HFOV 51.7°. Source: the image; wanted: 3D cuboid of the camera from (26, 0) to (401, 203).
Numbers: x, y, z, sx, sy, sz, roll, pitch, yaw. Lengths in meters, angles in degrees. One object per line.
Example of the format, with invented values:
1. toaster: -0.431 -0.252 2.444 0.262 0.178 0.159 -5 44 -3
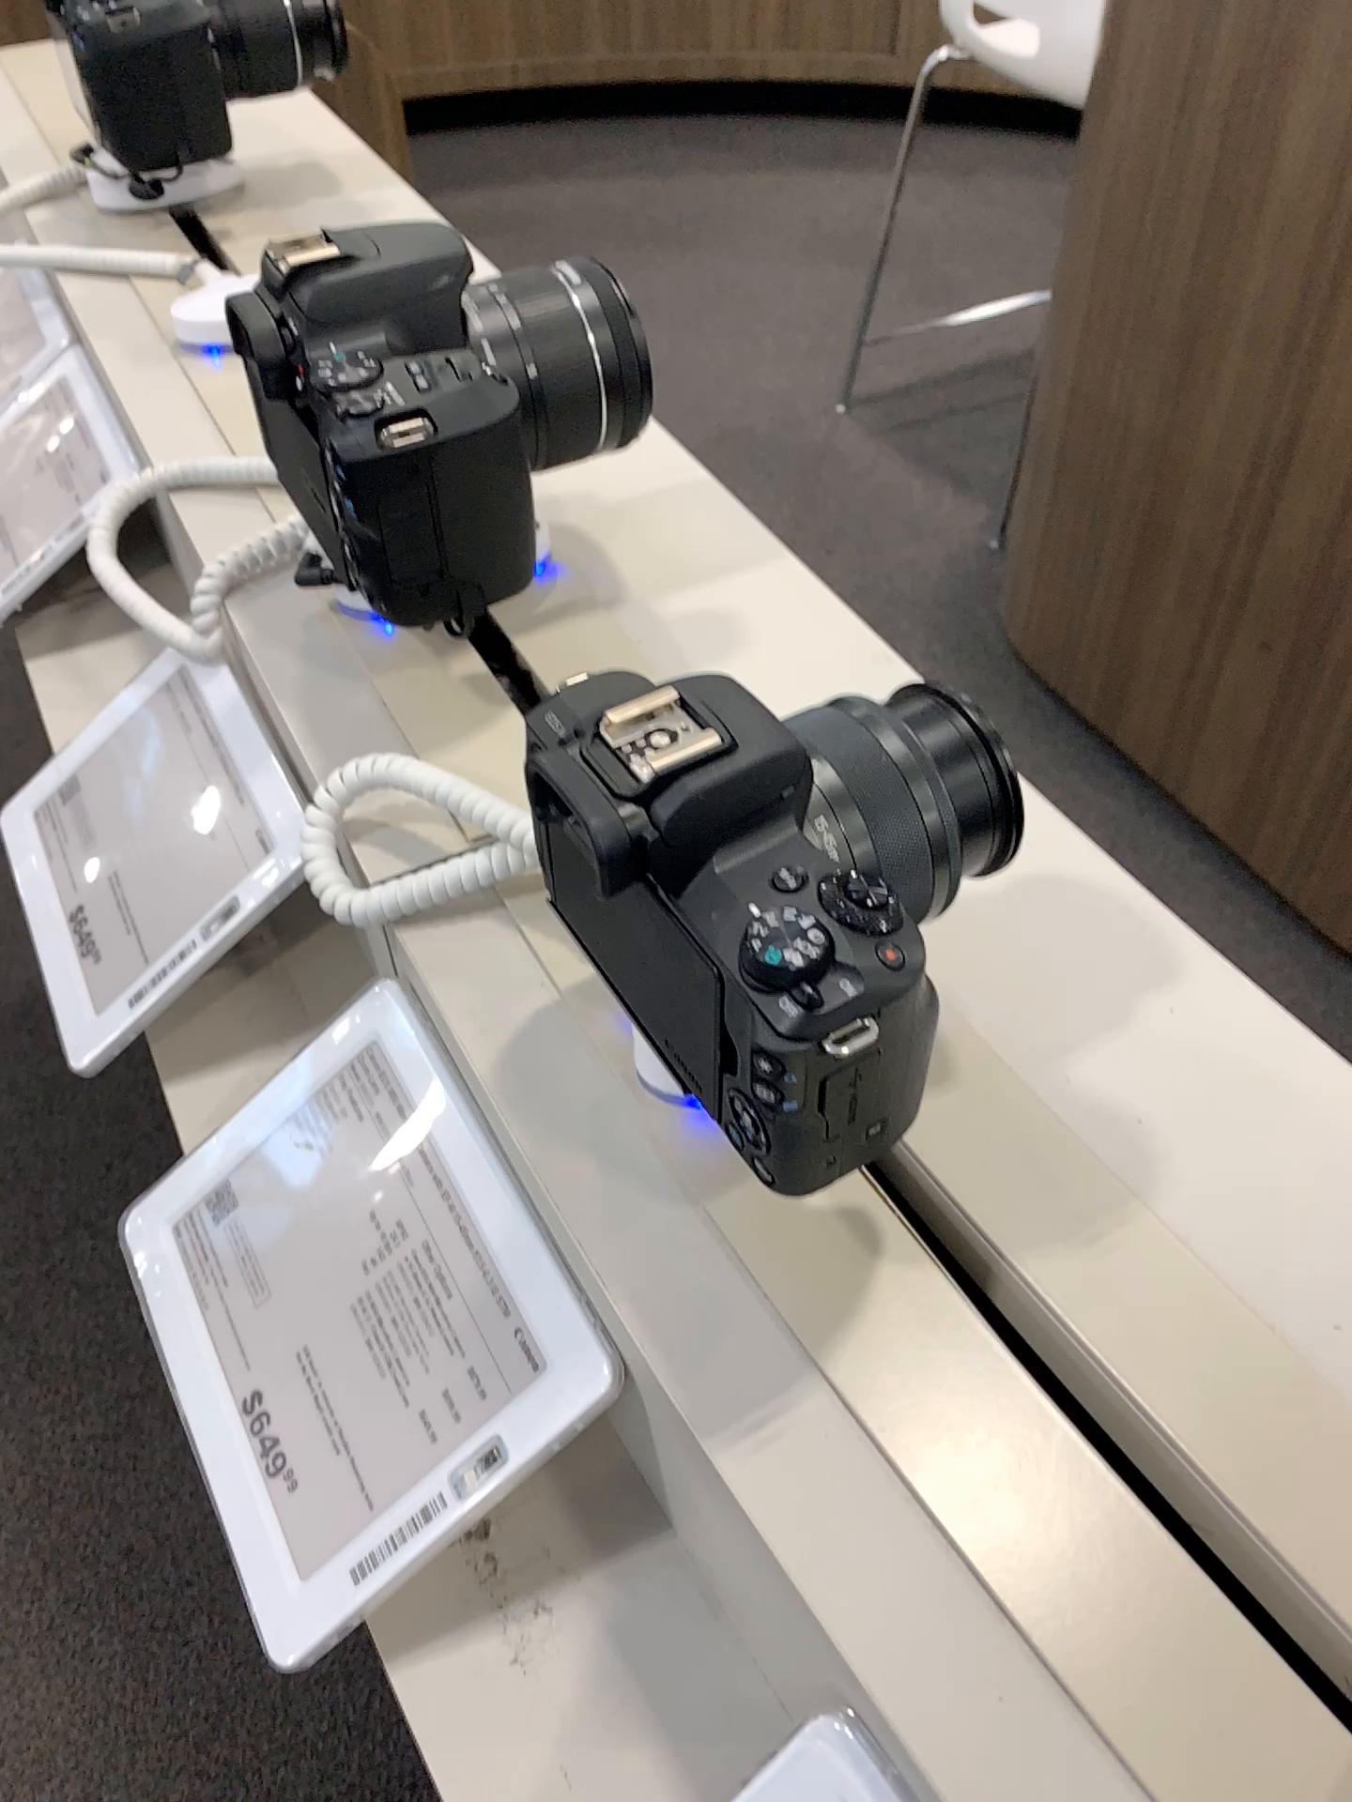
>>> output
1. camera: -0.249 -0.470 0.757 0.145 0.101 0.134 -21 50 -16

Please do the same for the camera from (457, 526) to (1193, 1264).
1. camera: 0.029 -0.006 0.328 0.111 0.088 0.112 -25 51 -19

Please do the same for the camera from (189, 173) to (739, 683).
1. camera: -0.068 -0.165 0.474 0.135 0.089 0.122 -25 51 -19
